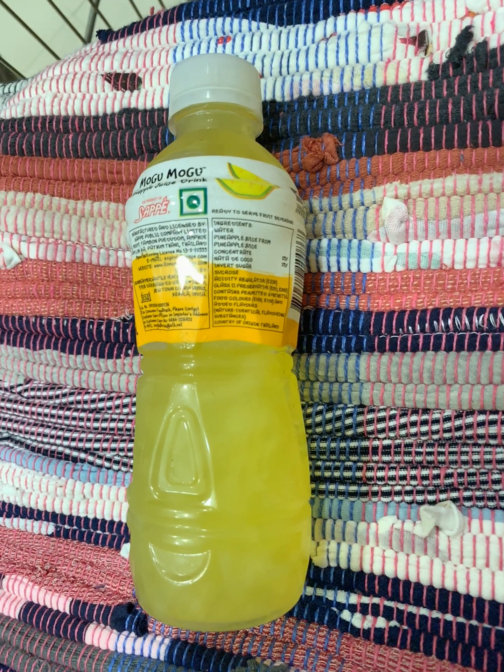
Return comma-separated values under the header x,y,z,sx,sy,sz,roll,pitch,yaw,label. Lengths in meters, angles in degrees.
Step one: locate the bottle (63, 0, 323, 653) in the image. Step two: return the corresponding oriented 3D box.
x,y,z,sx,sy,sz,roll,pitch,yaw,label
-0.013,-0.015,0.170,0.060,0.050,0.190,-2,81,21,bottle
